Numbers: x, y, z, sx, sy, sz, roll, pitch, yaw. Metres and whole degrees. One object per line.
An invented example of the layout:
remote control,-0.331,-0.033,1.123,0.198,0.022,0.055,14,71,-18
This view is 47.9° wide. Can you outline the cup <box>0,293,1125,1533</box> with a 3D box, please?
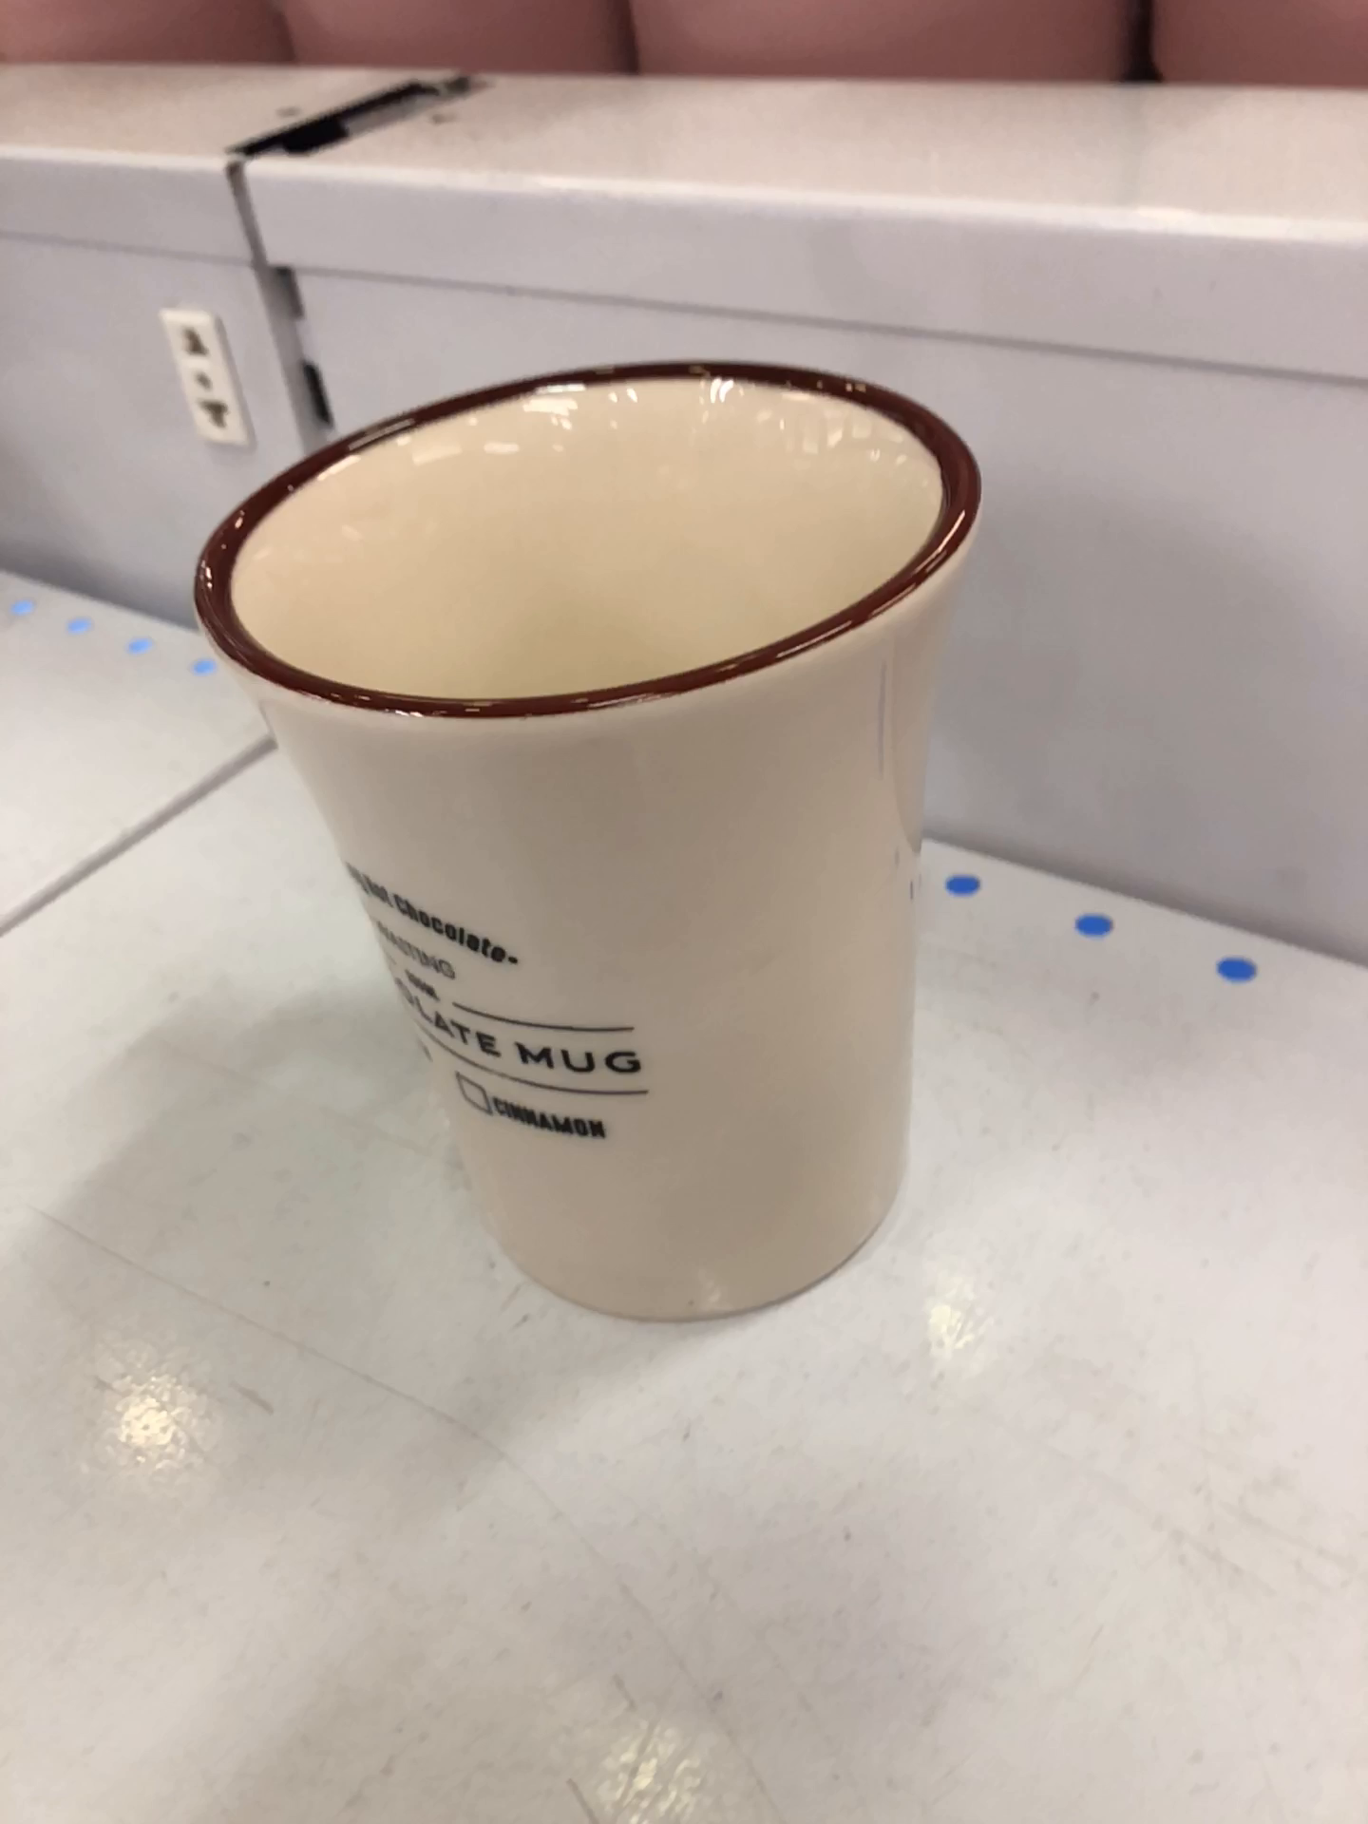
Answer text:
cup,-0.018,-0.010,0.214,0.120,0.109,0.090,22,47,33
